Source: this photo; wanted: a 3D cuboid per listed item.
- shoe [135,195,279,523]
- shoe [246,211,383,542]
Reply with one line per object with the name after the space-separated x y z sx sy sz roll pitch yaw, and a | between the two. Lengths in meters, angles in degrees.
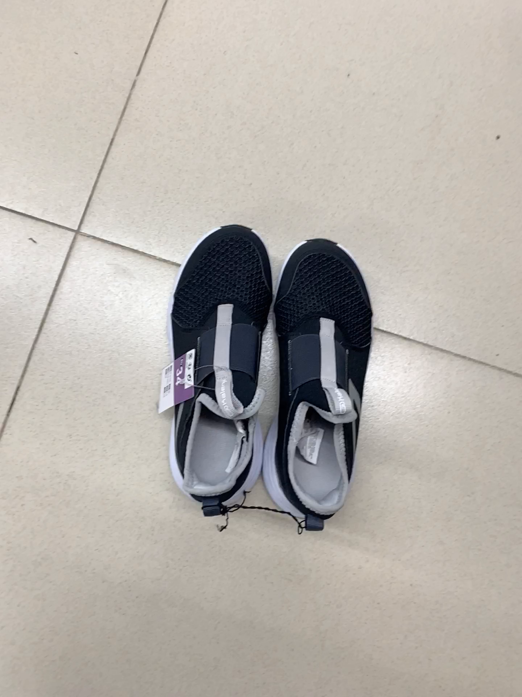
-0.041 0.008 0.456 0.090 0.080 0.250 4 83 0 | shoe
0.043 0.022 0.453 0.090 0.080 0.250 4 83 0 | shoe
